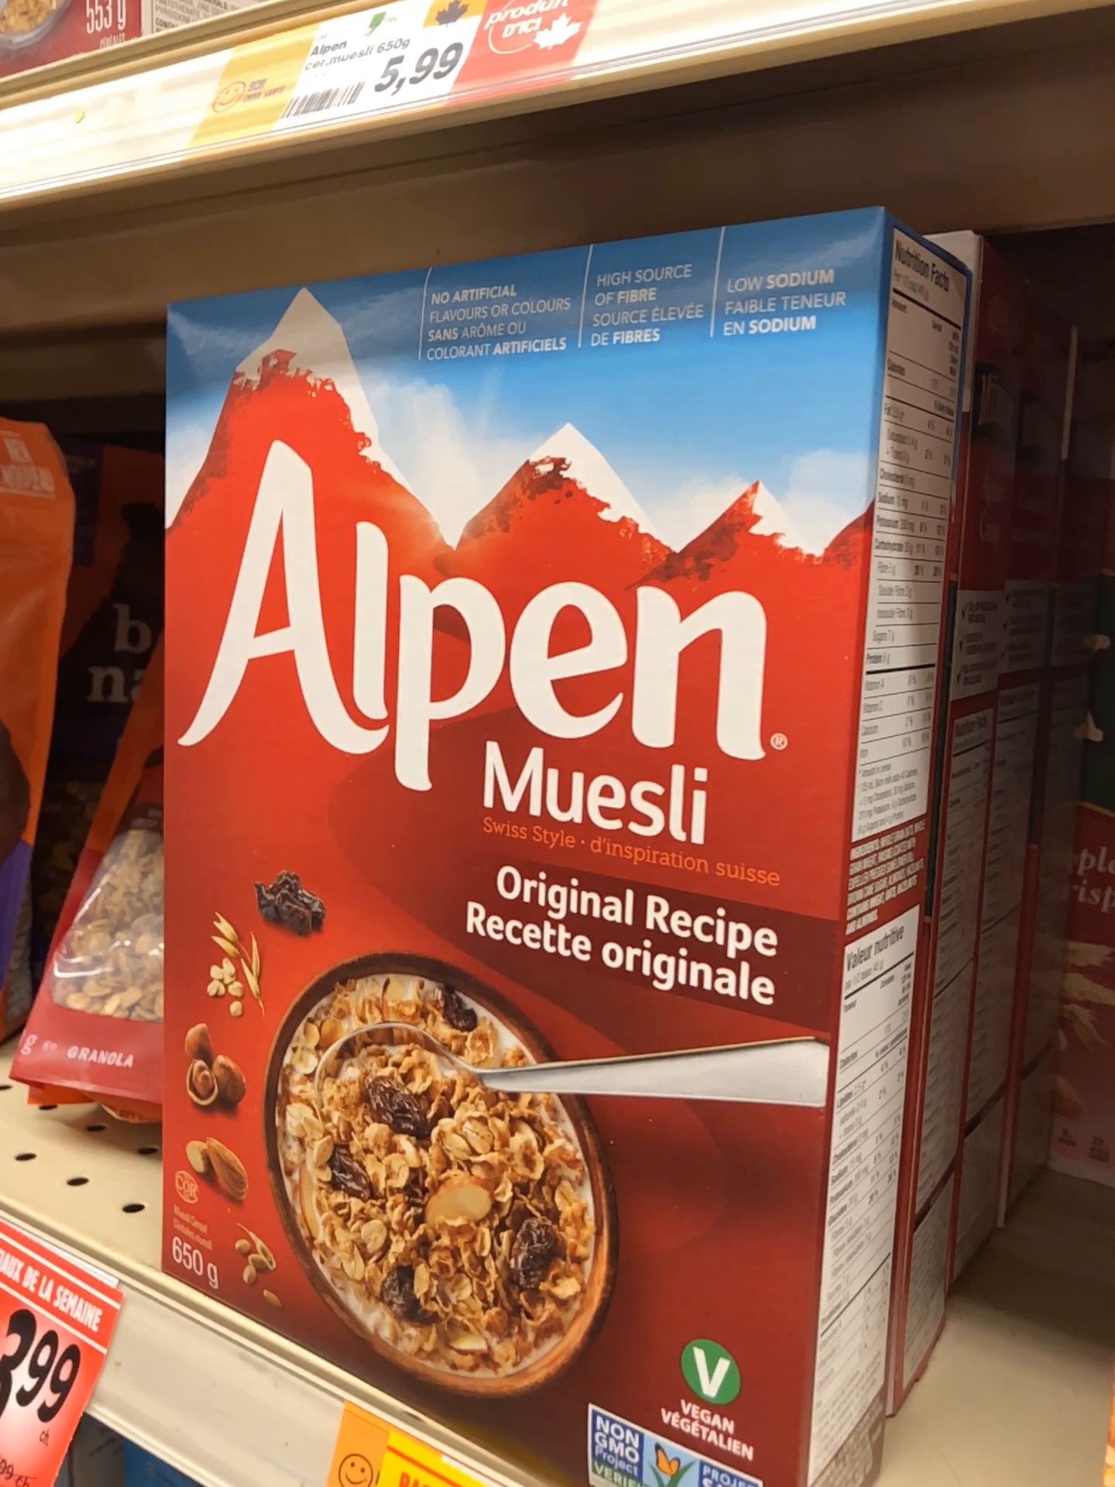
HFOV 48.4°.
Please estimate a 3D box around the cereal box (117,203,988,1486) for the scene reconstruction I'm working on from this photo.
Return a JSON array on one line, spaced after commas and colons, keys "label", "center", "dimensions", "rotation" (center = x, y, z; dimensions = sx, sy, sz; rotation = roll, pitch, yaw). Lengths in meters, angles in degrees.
[{"label": "cereal box", "center": [-0.013, 0.023, 0.277], "dimensions": [0.180, 0.239, 0.060], "rotation": [7, 10, 33]}]
